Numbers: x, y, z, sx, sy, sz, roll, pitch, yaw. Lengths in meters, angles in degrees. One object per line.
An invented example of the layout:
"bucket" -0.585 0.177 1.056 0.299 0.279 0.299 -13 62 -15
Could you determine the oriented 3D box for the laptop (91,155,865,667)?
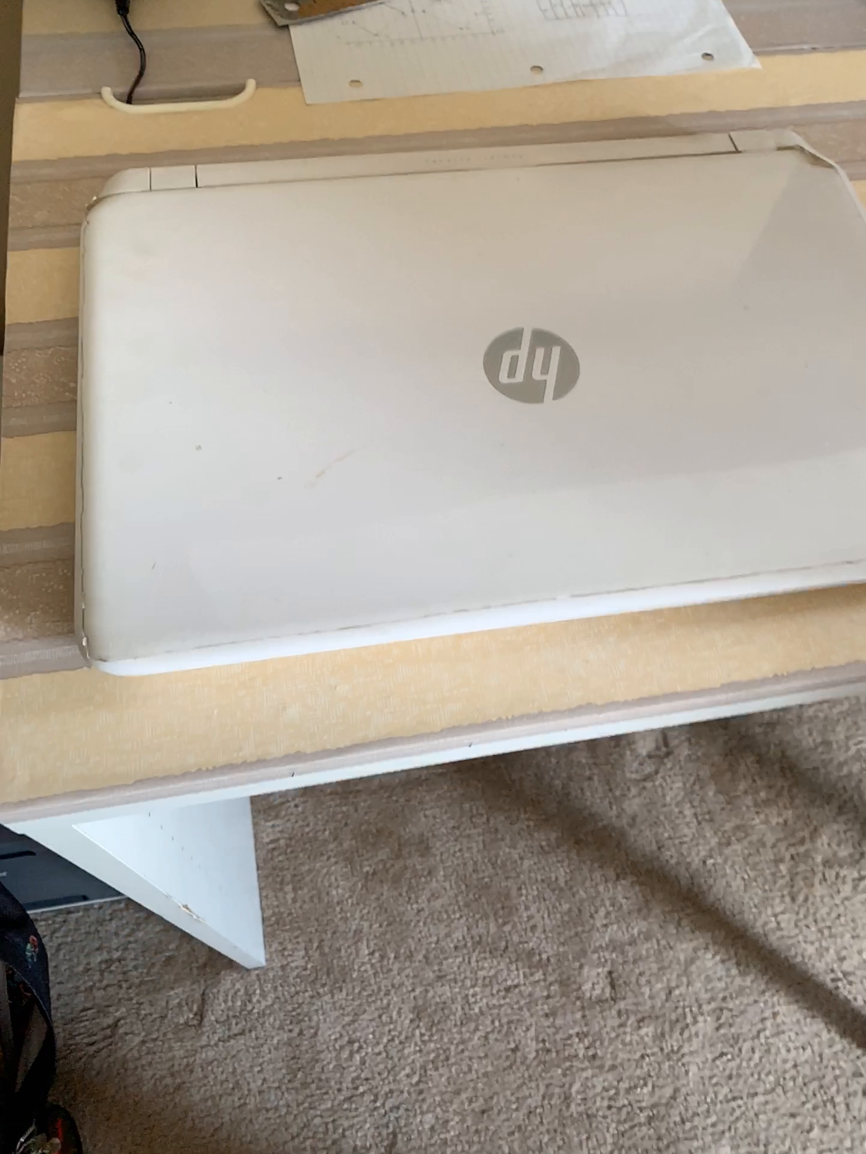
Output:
"laptop" 0.041 -0.092 0.387 0.363 0.002 0.229 -7 63 -6
